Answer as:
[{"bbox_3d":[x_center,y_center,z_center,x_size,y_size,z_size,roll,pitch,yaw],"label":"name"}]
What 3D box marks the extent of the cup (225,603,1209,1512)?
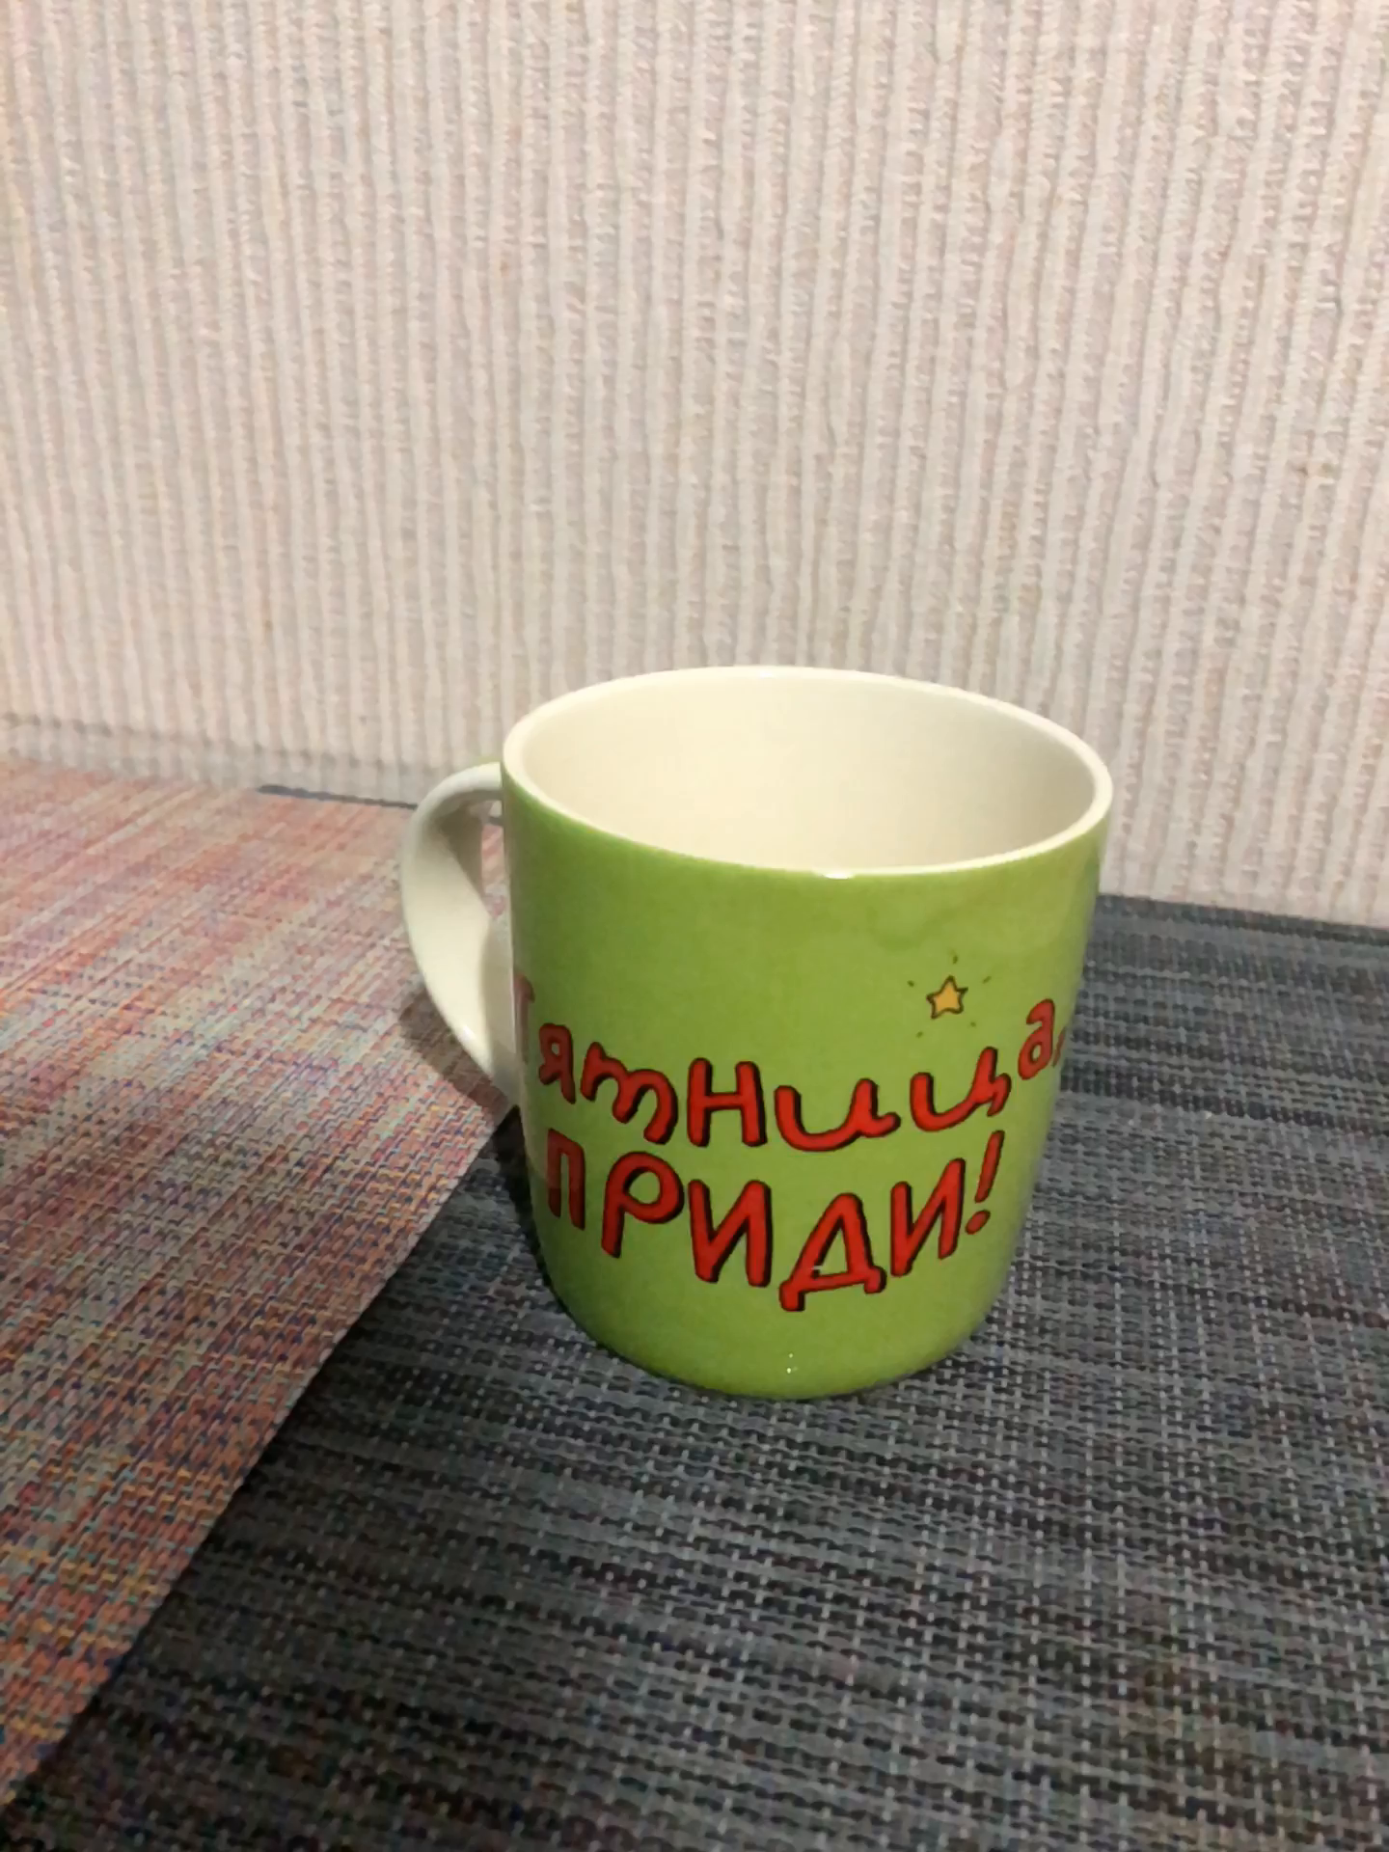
[{"bbox_3d":[0.005,0.008,0.243,0.115,0.084,0.090,16,28,27],"label":"cup"}]
